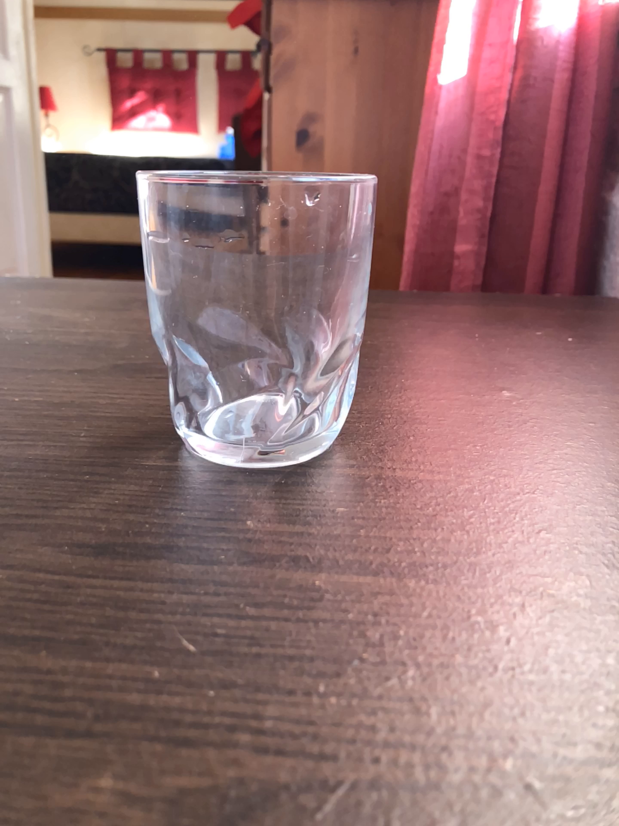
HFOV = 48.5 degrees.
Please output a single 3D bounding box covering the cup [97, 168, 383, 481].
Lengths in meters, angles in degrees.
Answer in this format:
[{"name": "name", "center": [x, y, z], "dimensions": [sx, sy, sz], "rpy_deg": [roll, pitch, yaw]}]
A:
[{"name": "cup", "center": [-0.016, -0.035, 0.228], "dimensions": [0.075, 0.085, 0.078], "rpy_deg": [1, 19, -1]}]
